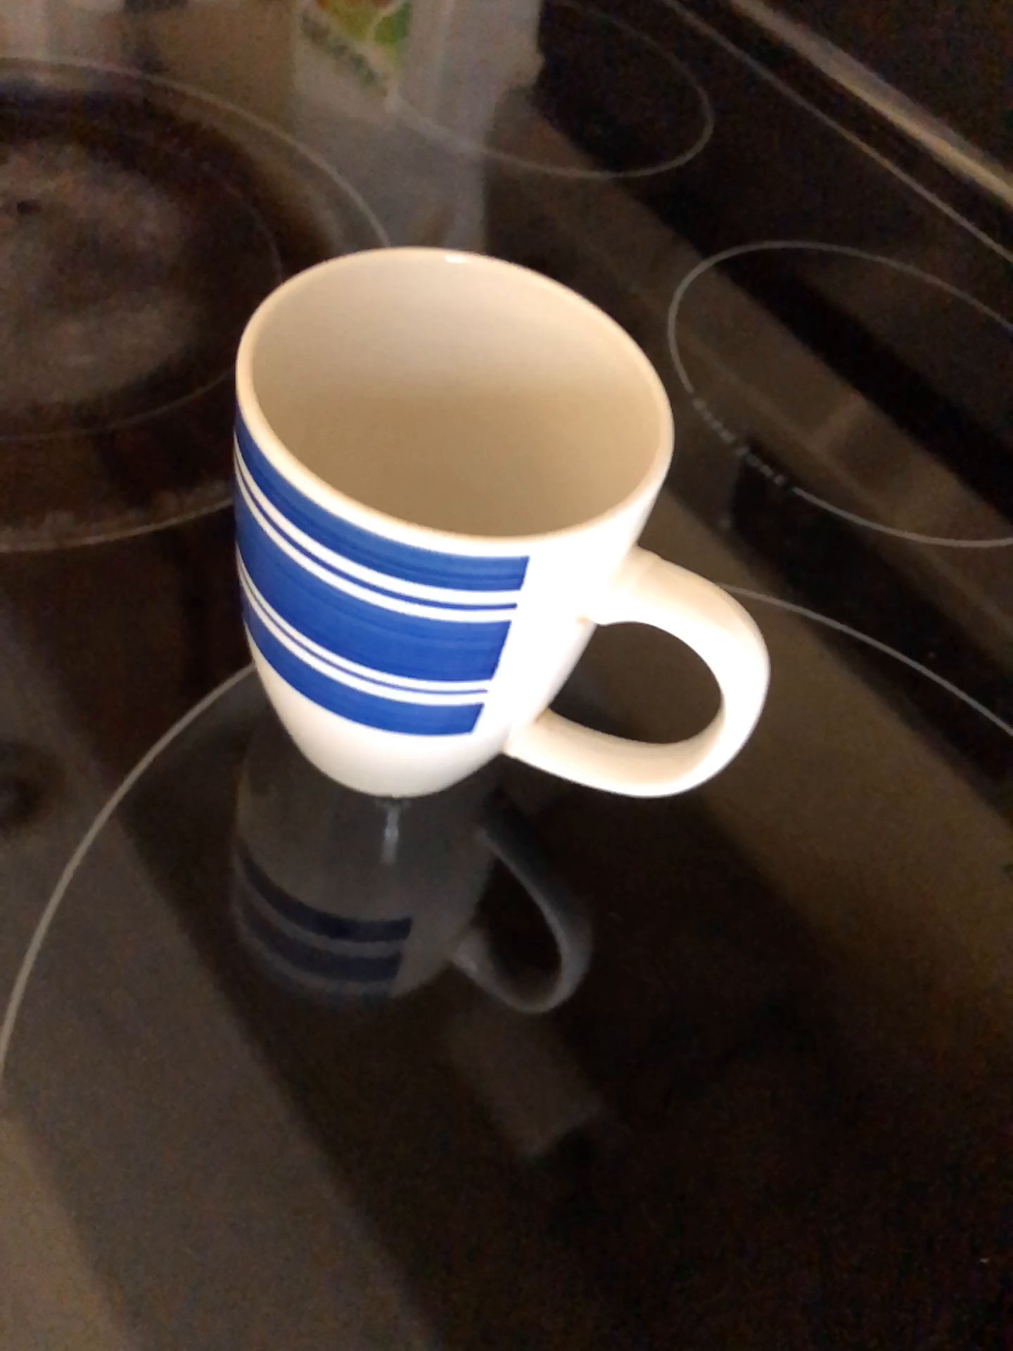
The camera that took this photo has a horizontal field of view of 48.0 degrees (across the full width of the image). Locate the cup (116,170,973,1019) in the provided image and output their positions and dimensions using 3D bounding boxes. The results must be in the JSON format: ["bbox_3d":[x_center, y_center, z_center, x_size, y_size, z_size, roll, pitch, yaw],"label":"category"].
[{"bbox_3d":[0.002,-0.016,0.222,0.120,0.090,0.080,32,53,11],"label":"cup"}]
